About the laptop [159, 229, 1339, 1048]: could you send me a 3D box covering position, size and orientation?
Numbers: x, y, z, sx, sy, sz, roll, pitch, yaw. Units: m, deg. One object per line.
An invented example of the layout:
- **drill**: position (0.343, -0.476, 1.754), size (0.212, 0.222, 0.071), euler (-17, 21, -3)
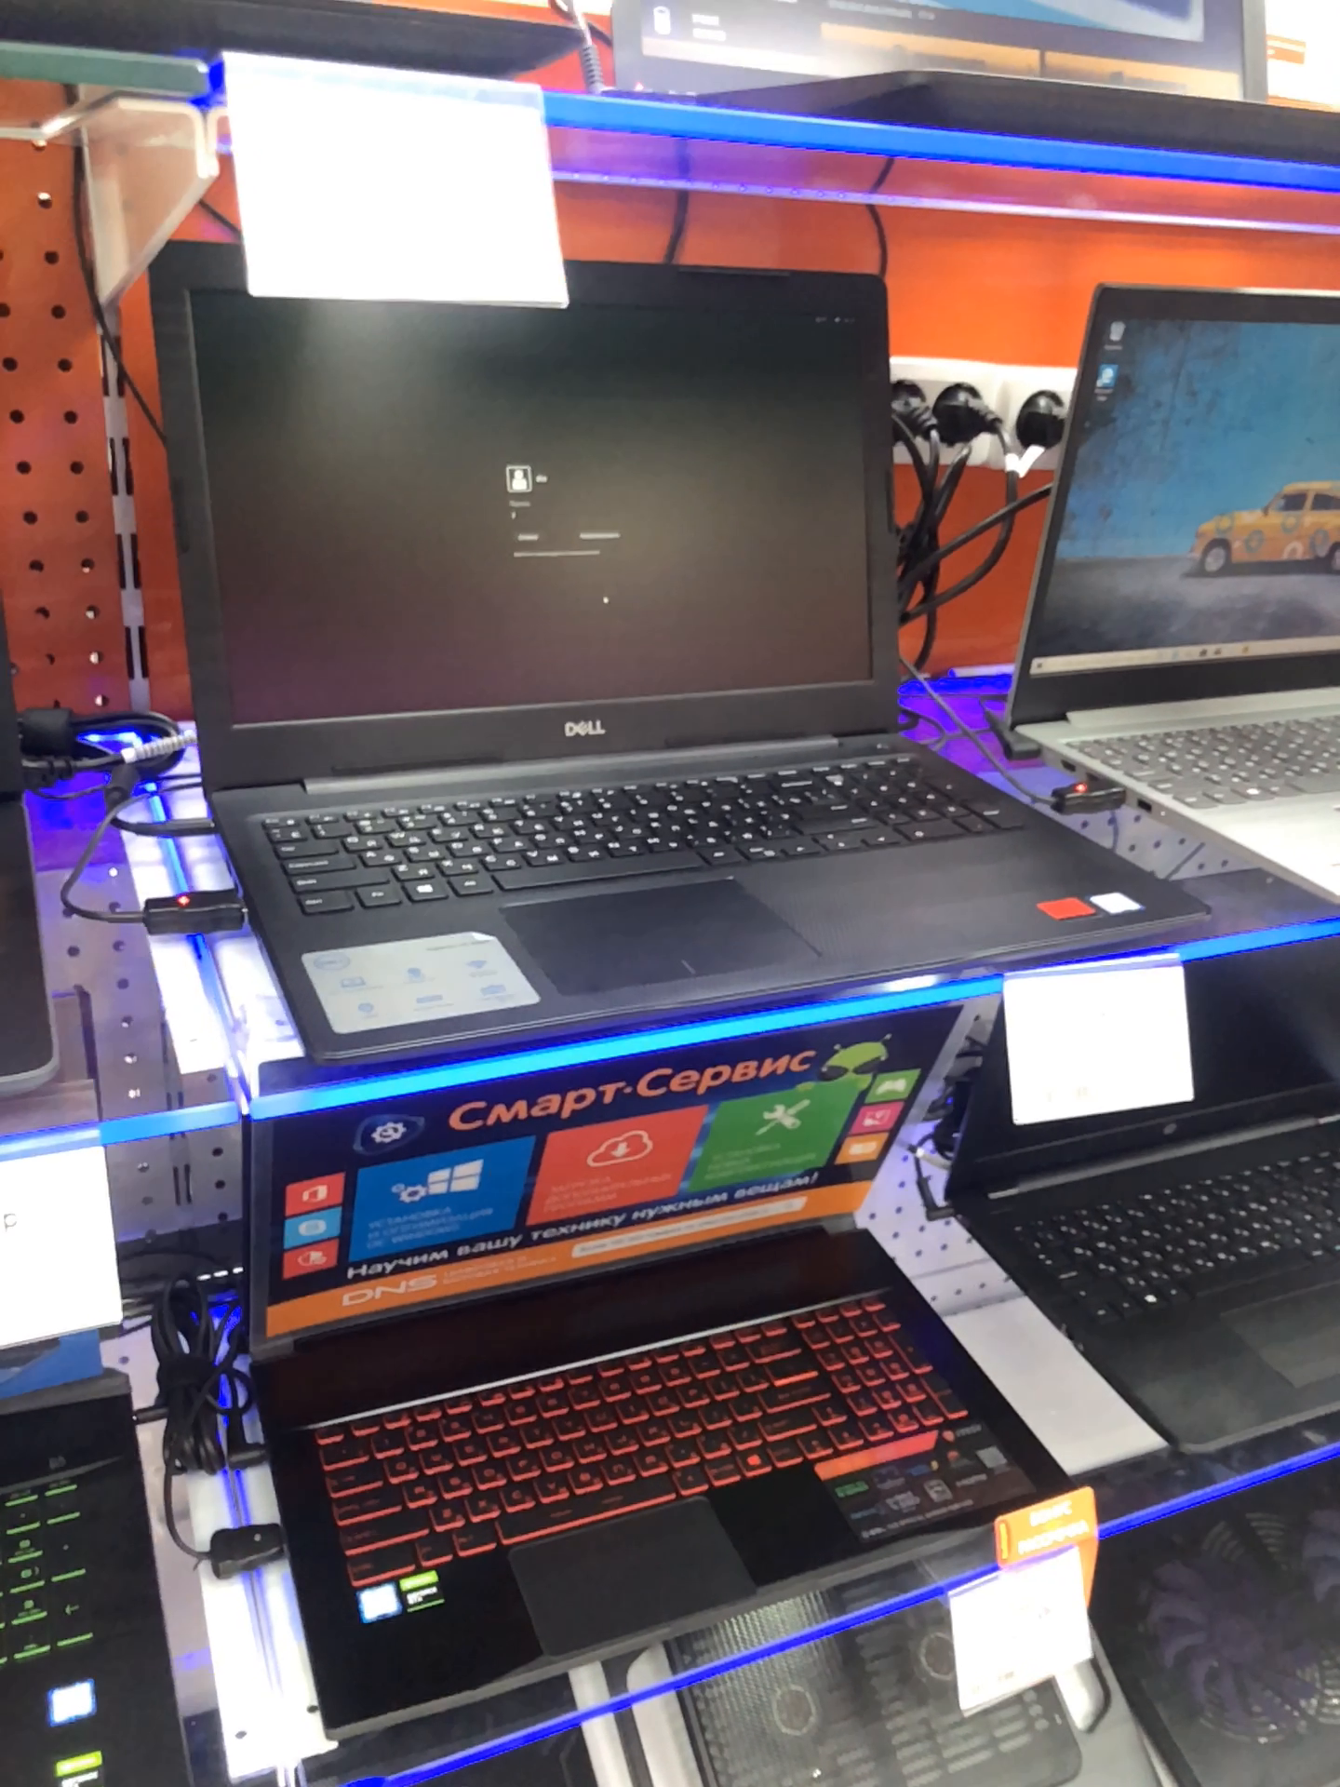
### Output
- **laptop**: position (0.005, -0.142, 0.632), size (0.374, 0.233, 0.317), euler (-7, 25, -24)
